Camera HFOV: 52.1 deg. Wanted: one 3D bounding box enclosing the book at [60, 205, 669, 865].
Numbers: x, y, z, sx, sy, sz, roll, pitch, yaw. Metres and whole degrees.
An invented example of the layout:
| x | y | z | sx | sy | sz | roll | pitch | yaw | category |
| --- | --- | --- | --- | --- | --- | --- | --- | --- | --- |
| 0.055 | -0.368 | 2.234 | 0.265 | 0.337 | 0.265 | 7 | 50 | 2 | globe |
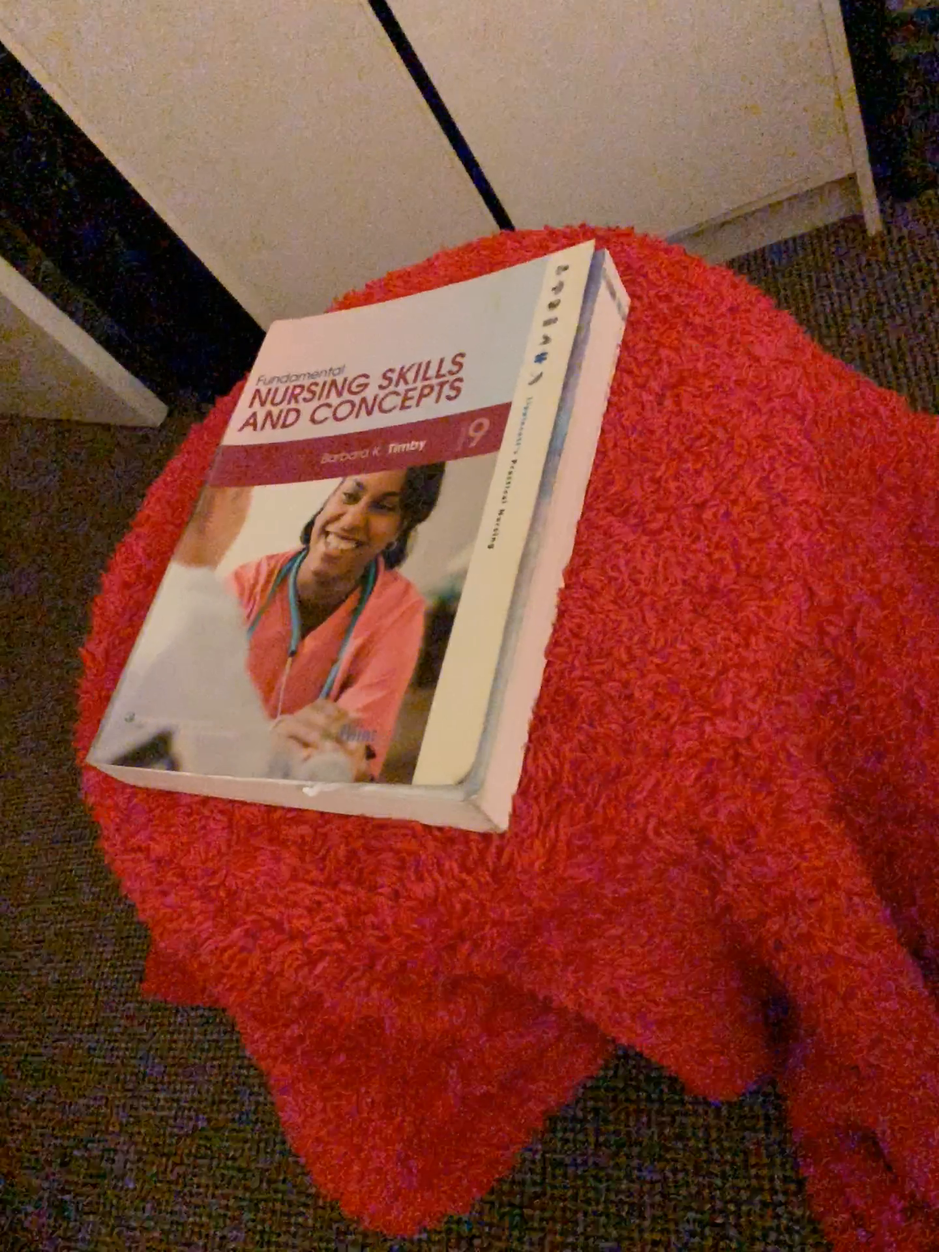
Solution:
| x | y | z | sx | sy | sz | roll | pitch | yaw | category |
| --- | --- | --- | --- | --- | --- | --- | --- | --- | --- |
| -0.044 | -0.051 | 0.483 | 0.231 | 0.069 | 0.301 | -1 | 60 | 32 | book |
